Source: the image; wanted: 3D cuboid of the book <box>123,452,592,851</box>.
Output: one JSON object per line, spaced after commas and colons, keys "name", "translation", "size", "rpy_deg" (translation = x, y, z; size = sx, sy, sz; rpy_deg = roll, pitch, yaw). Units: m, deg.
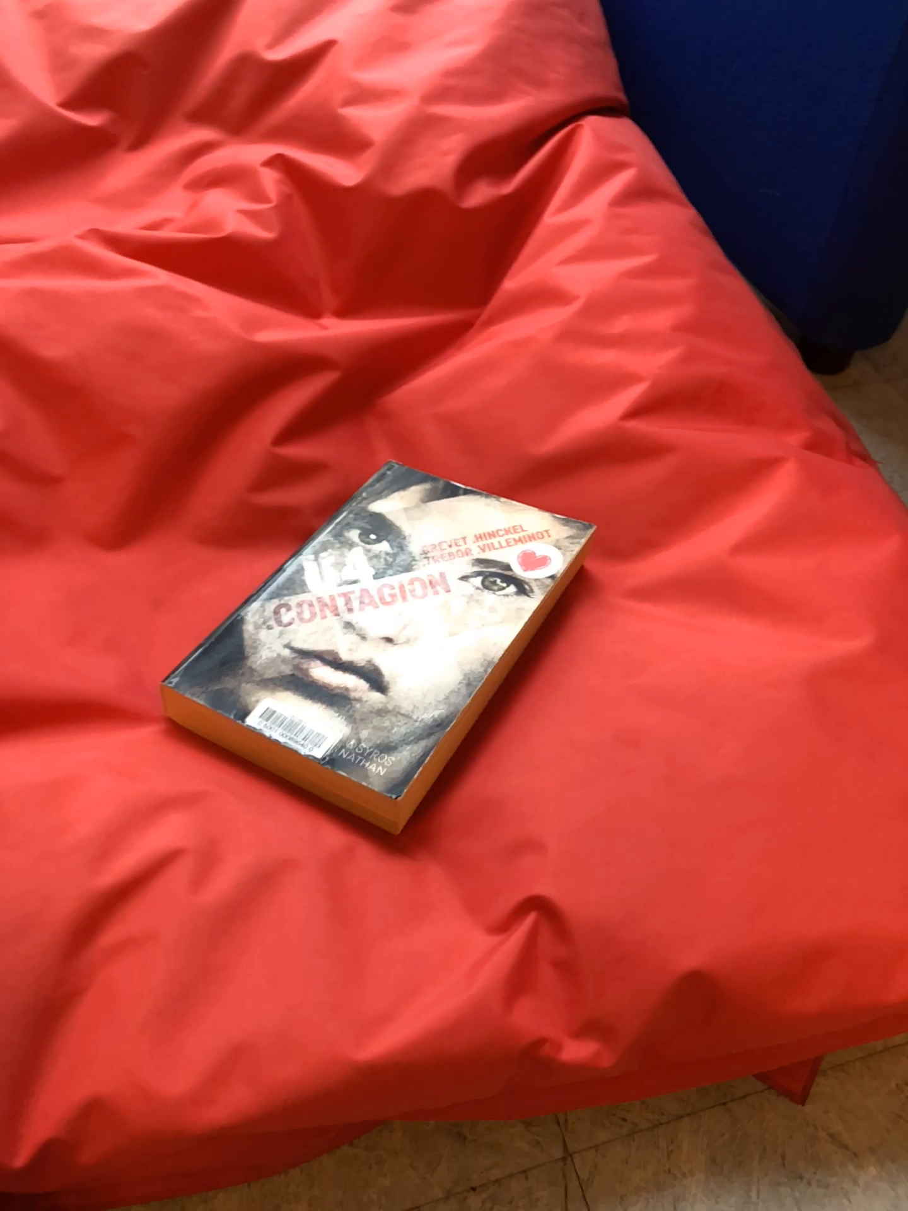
{"name": "book", "translation": [-0.045, 0.009, 0.575], "size": [0.166, 0.038, 0.226], "rpy_deg": [21, 49, 23]}
